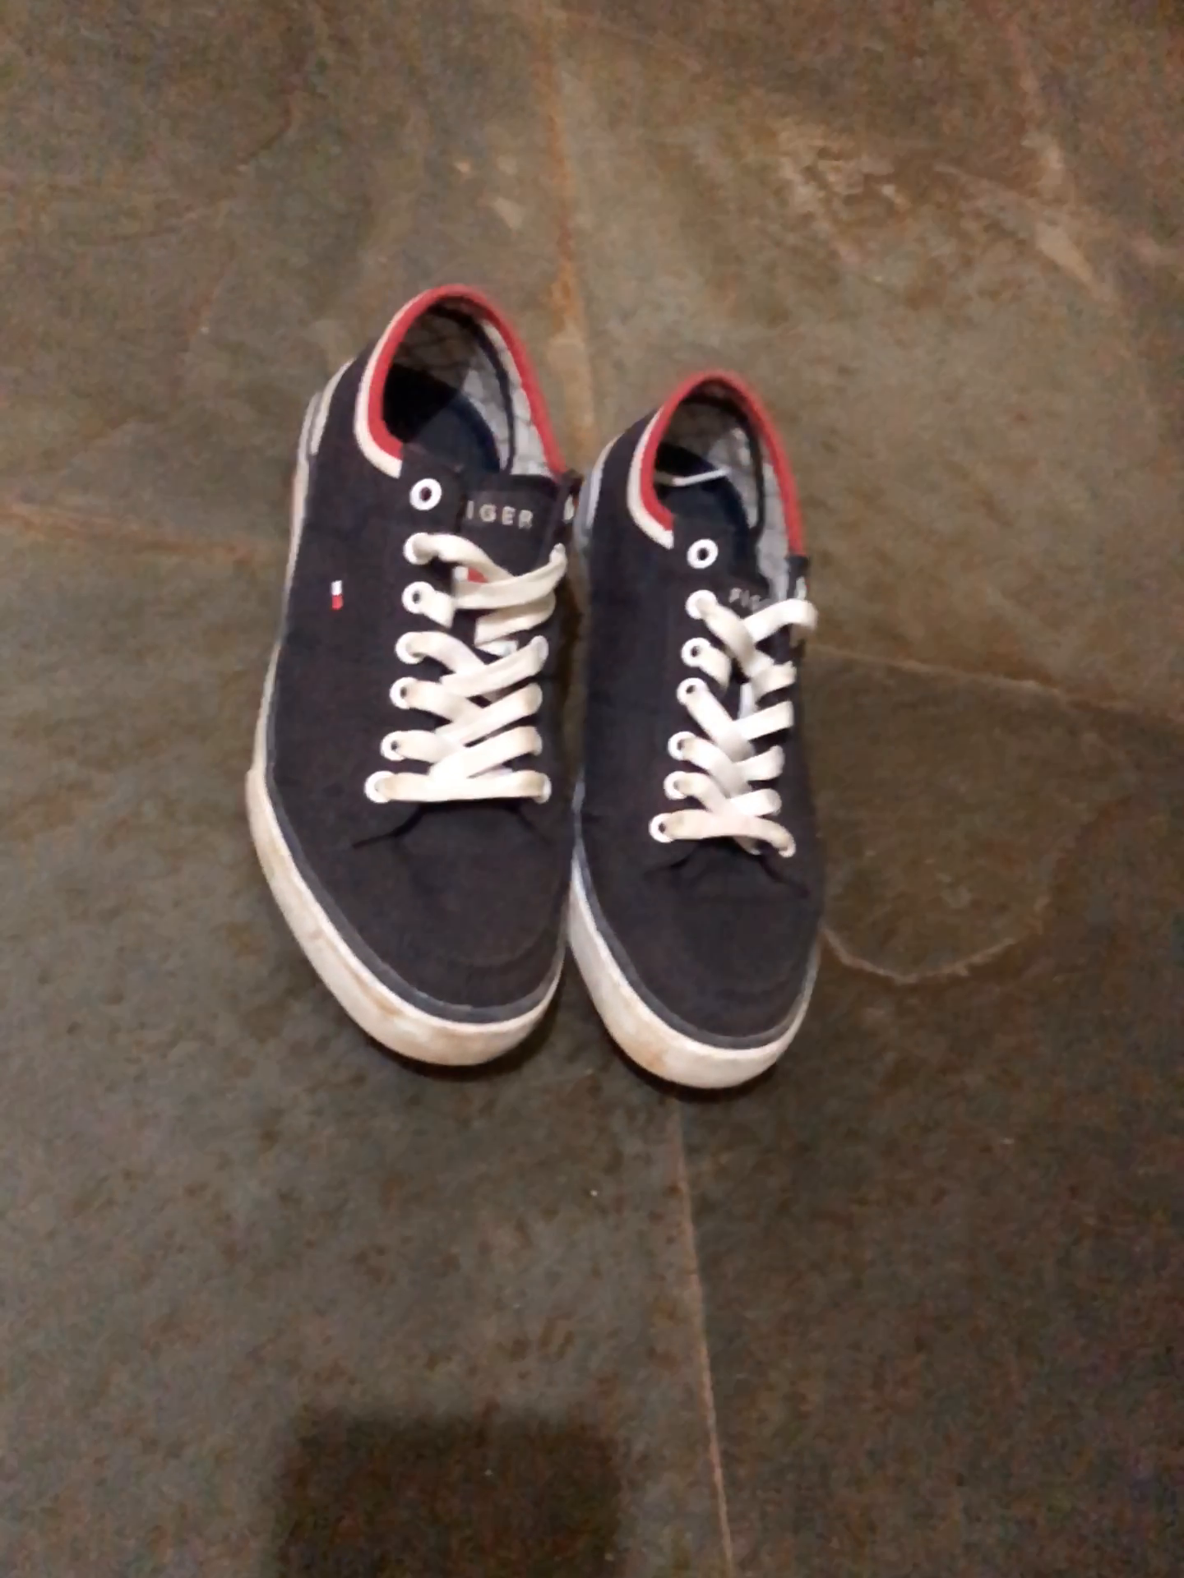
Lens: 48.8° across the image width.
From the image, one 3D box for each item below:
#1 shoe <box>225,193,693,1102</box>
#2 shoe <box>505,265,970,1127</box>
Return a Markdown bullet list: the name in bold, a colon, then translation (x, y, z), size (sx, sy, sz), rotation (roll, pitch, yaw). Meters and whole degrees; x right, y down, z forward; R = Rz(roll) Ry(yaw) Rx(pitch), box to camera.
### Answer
- **shoe**: translation (-0.058, -0.050, 0.450), size (0.110, 0.099, 0.291), rotation (7, 61, -26)
- **shoe**: translation (0.039, -0.039, 0.492), size (0.110, 0.099, 0.301), rotation (11, 59, -24)
